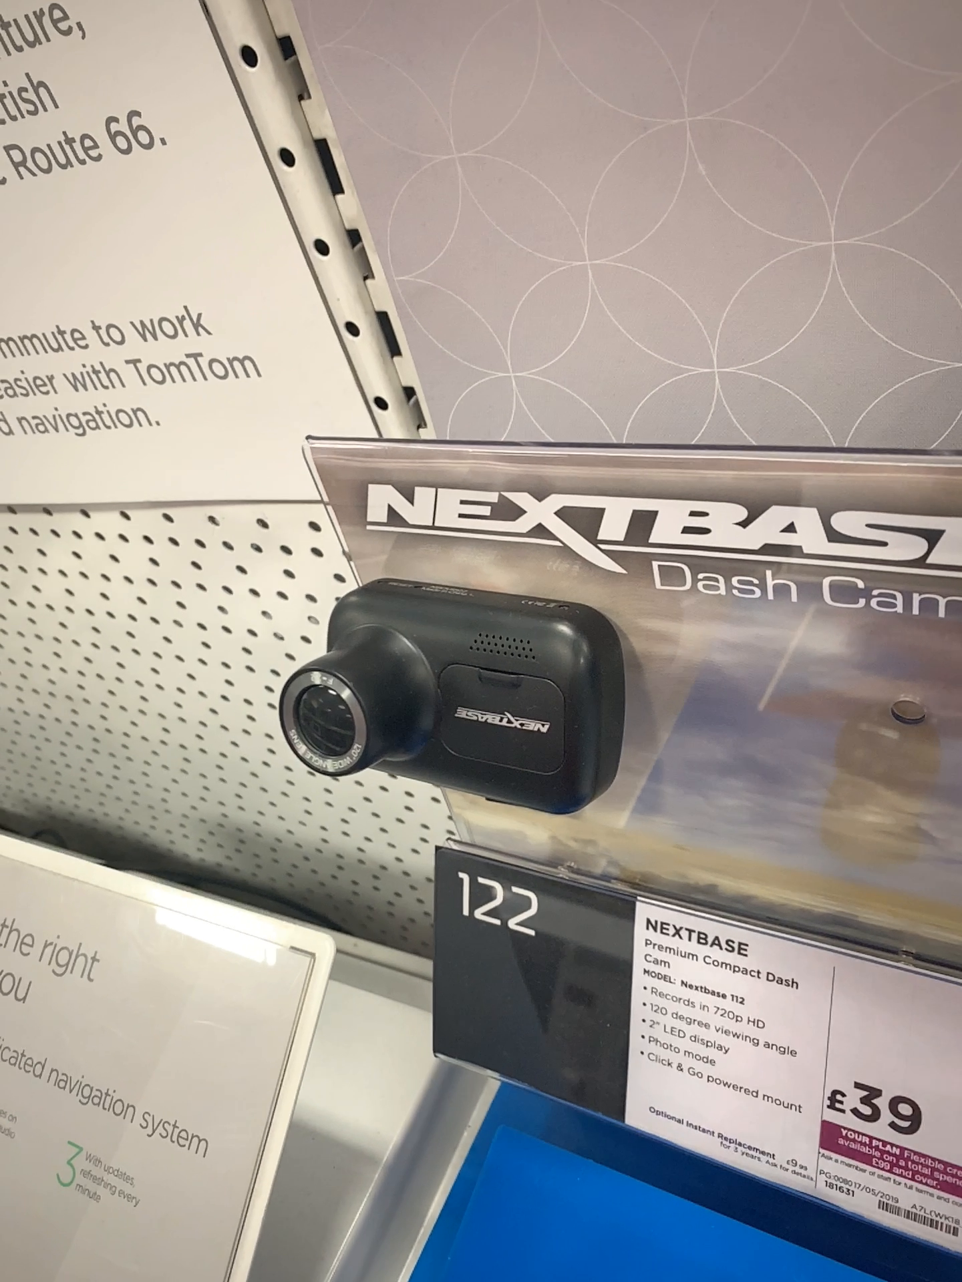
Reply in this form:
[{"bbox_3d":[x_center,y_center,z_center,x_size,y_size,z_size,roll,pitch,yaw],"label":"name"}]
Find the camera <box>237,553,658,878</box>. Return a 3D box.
[{"bbox_3d":[-0.007,0.012,0.243,0.080,0.050,0.060,10,18,33],"label":"camera"}]
